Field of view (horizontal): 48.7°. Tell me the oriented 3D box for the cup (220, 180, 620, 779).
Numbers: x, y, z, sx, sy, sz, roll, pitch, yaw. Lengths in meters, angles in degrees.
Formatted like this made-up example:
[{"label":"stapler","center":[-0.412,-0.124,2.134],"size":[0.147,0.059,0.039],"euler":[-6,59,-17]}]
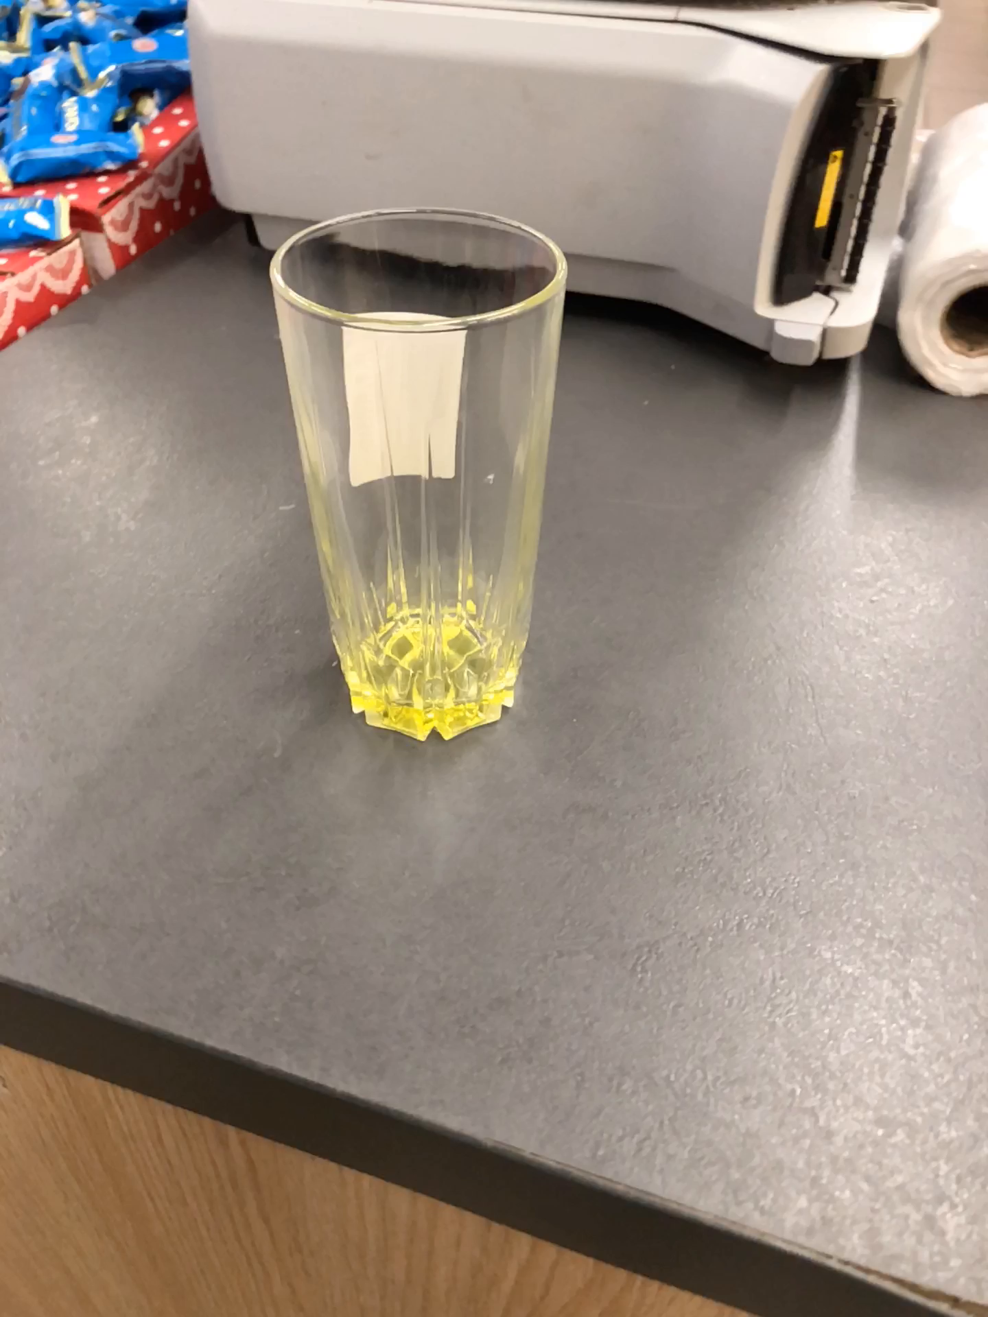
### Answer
[{"label":"cup","center":[-0.020,-0.047,0.301],"size":[0.075,0.134,0.070],"euler":[0,42,0]}]
